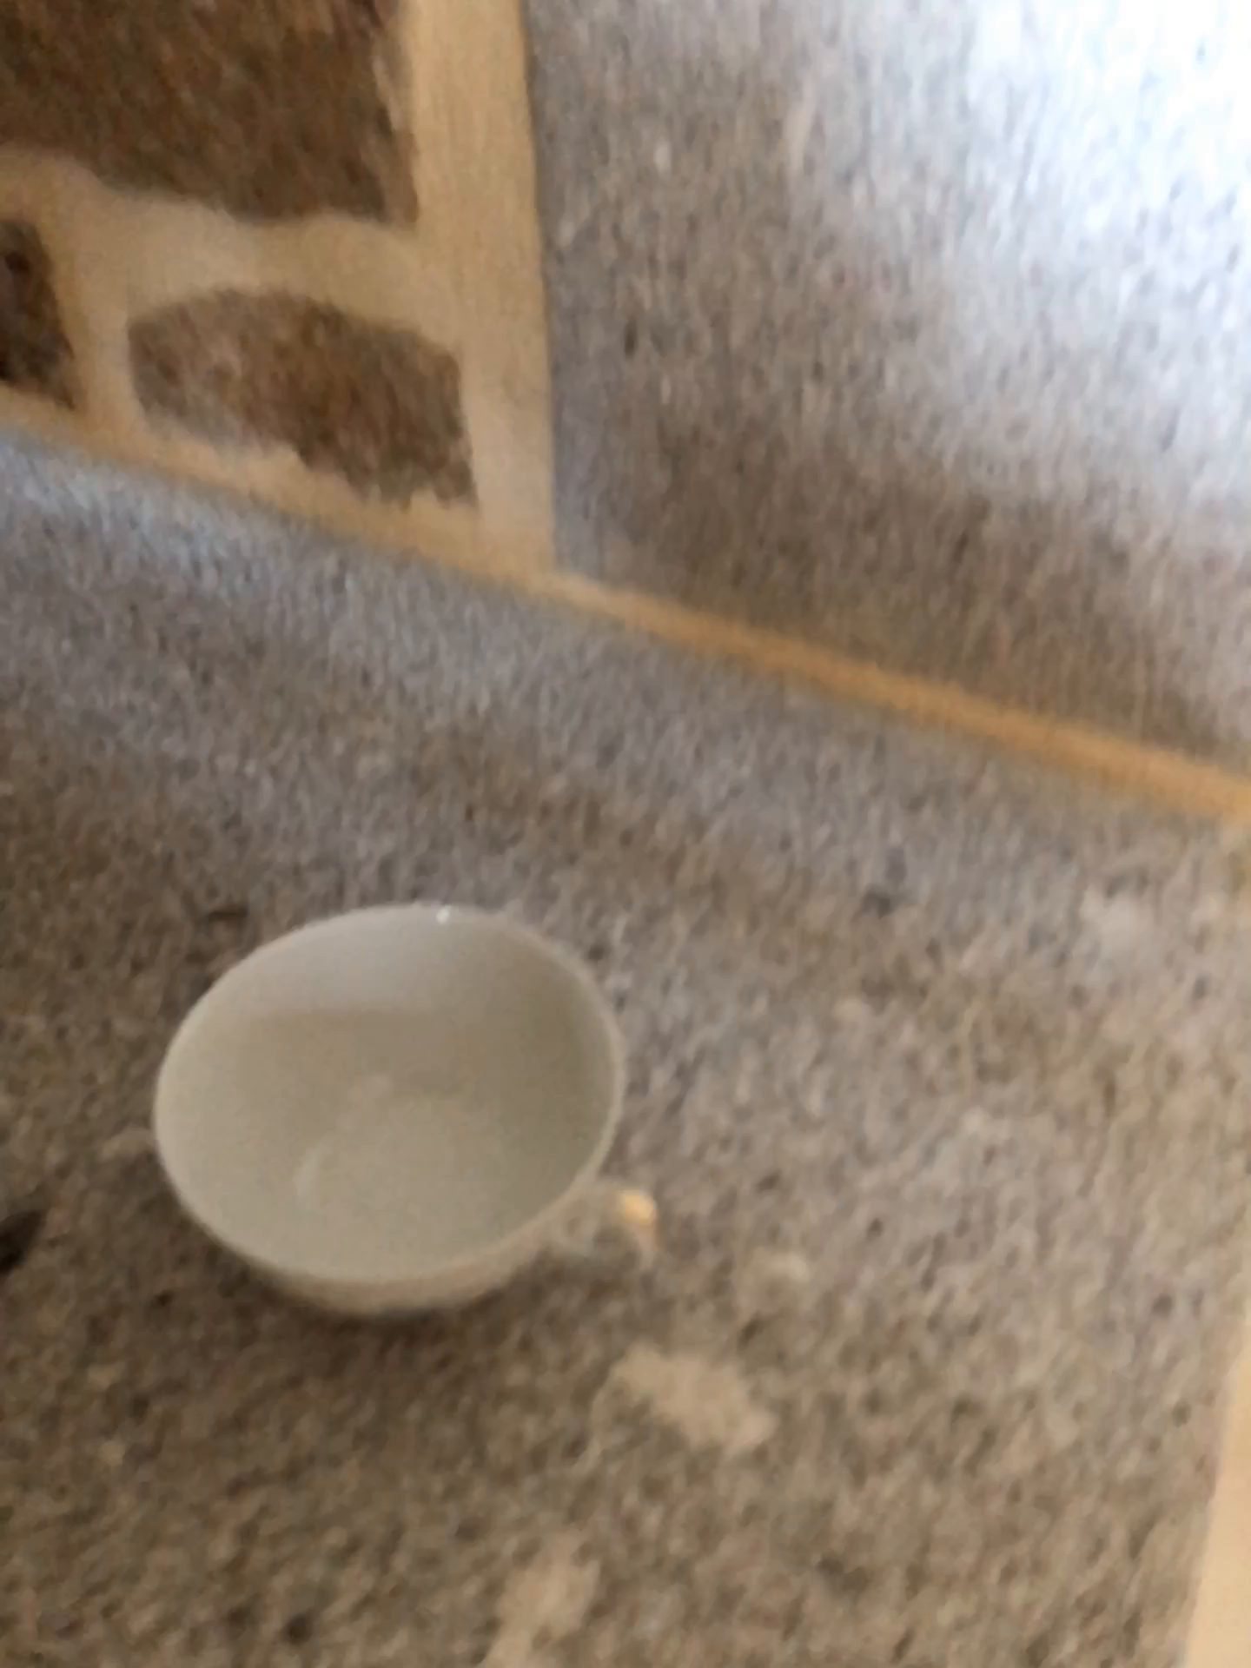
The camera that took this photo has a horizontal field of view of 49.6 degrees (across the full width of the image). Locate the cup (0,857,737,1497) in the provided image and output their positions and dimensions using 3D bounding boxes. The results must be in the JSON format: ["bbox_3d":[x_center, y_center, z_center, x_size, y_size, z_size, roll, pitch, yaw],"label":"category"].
[{"bbox_3d":[-0.044,0.061,0.270,0.110,0.040,0.090,14,43,12],"label":"cup"}]
